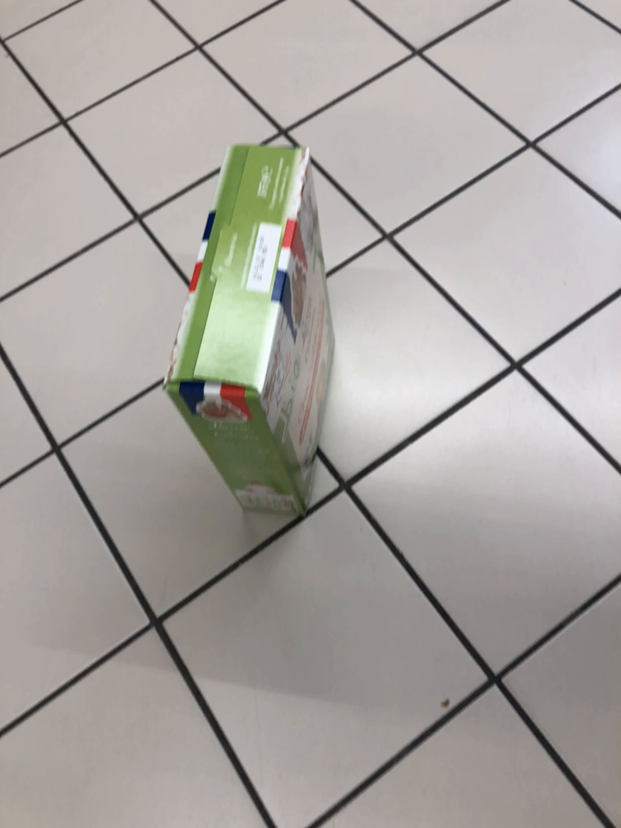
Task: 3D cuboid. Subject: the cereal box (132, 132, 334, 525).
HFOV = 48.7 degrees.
[{"bbox_3d":[-0.039,-0.049,0.530,0.070,0.239,0.201,5,65,9],"label":"cereal box"}]
